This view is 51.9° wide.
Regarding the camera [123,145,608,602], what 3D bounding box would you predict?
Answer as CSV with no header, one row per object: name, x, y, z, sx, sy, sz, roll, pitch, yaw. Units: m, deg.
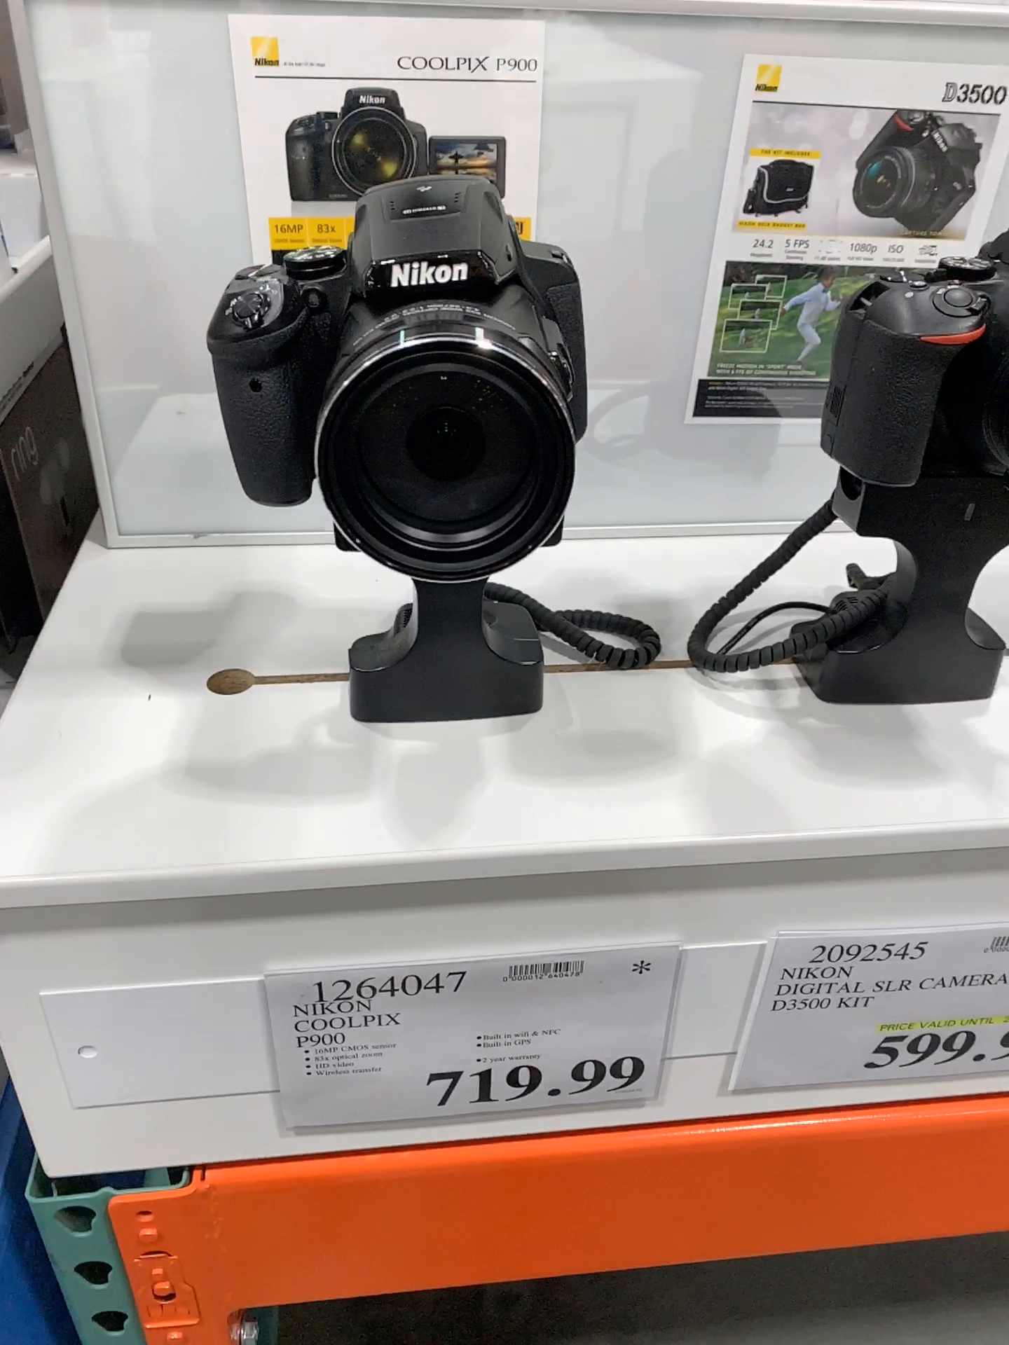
camera,-0.039,-0.115,0.370,0.130,0.109,0.151,-4,33,-2
